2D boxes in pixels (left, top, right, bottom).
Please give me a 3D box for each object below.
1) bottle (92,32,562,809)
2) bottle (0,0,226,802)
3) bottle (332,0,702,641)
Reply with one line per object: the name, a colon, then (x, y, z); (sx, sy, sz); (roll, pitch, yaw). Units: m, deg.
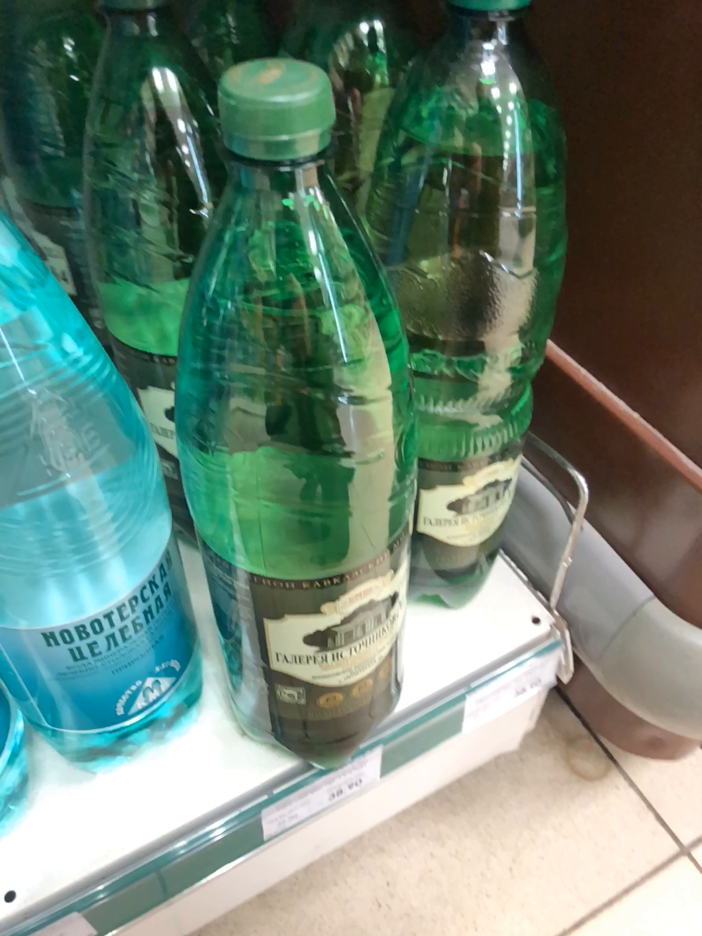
bottle: (-0.015, 0.014, 0.310); (0.091, 0.308, 0.088); (1, 45, -1)
bottle: (-0.115, 0.009, 0.299); (0.084, 0.326, 0.076); (1, 45, -1)
bottle: (0.053, -0.056, 0.371); (0.091, 0.326, 0.082); (-21, 50, -22)
